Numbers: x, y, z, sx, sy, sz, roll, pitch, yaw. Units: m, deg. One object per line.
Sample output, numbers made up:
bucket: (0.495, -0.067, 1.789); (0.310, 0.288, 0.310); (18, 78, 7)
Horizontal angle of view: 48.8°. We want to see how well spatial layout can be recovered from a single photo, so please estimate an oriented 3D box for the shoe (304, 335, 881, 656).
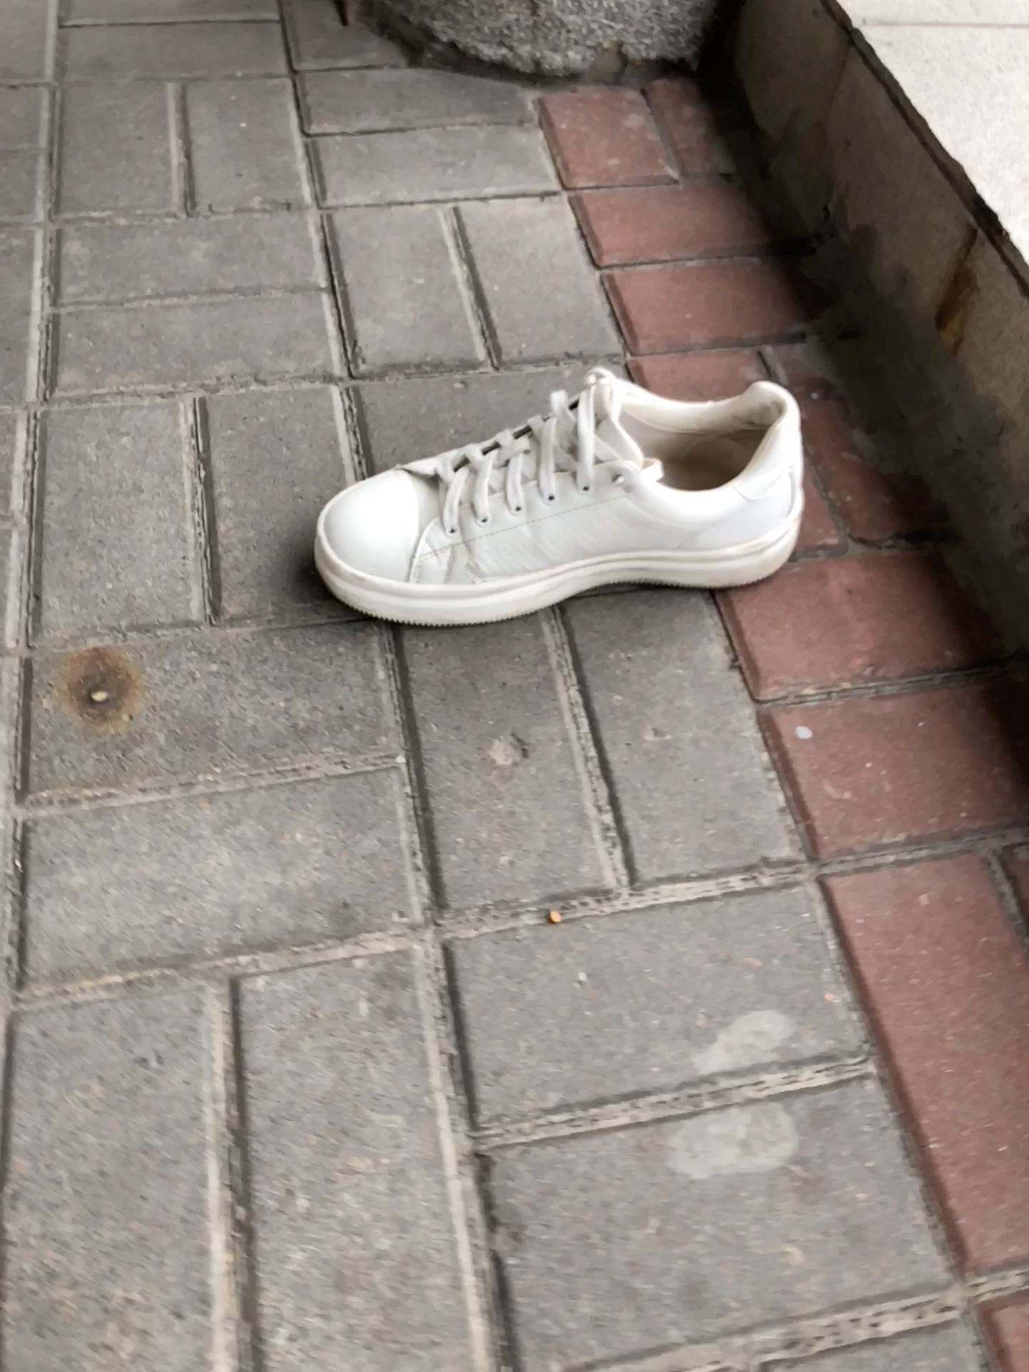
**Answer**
shoe: (0.035, -0.110, 0.650); (0.292, 0.119, 0.110); (-6, 59, -11)
